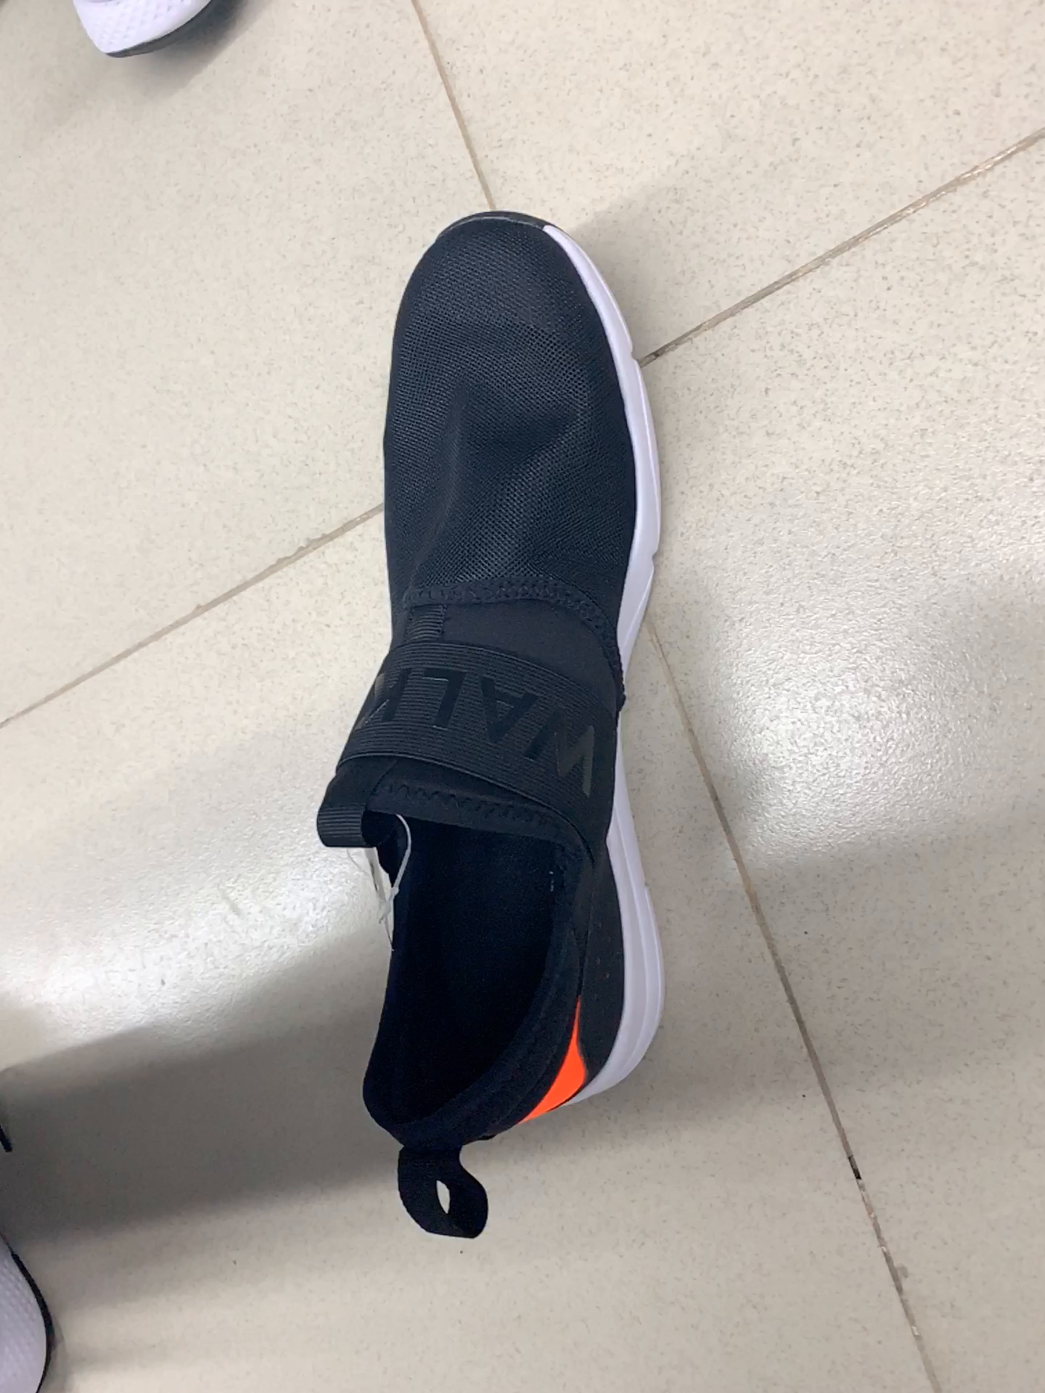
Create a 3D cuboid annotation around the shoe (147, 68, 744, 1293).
[{"bbox_3d":[-0.016,-0.002,0.324,0.110,0.120,0.280,-4,91,29],"label":"shoe"}]
